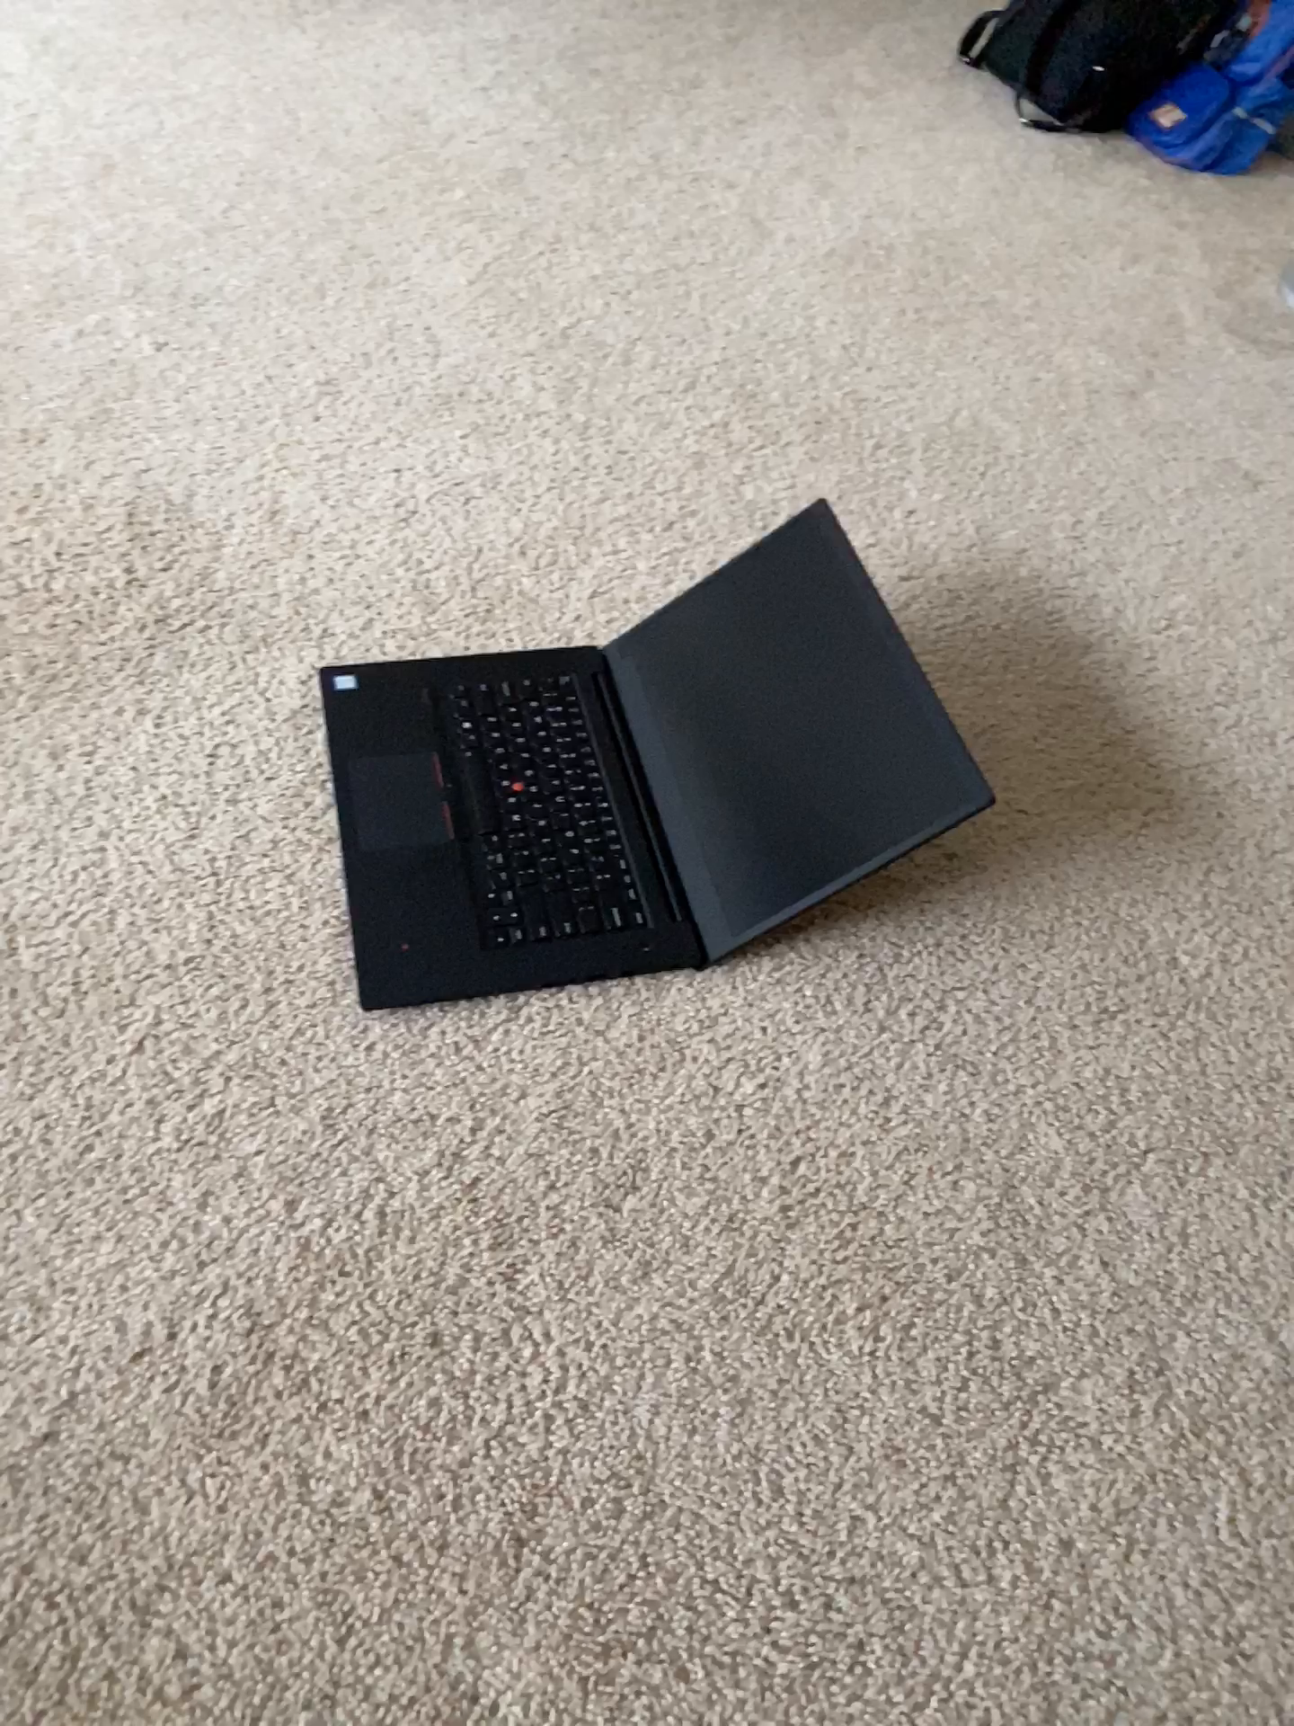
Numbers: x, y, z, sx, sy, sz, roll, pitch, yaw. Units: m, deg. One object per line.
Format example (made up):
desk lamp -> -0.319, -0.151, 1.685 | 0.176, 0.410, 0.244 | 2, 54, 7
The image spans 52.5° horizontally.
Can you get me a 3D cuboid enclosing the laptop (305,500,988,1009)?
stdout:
laptop -> -0.023, -0.105, 1.015 | 0.432, 0.142, 0.361 | -7, 50, -13
